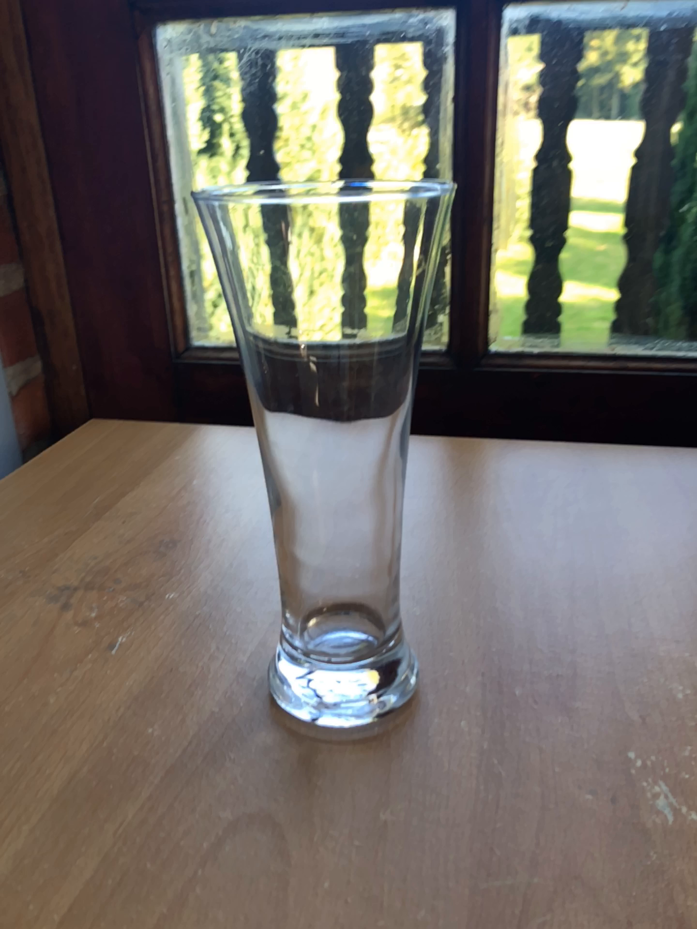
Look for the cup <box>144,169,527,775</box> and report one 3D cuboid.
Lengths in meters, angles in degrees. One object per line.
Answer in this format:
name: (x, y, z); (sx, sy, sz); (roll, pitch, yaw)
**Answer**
cup: (-0.006, -0.006, 0.253); (0.077, 0.168, 0.082); (0, 21, 0)
